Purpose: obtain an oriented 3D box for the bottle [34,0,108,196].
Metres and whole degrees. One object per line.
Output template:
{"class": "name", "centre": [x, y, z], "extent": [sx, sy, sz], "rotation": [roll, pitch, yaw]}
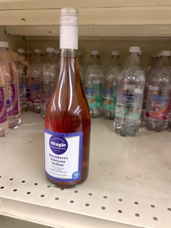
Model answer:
{"class": "bottle", "centre": [-0.022, -0.019, 0.309], "extent": [0.090, 0.299, 0.080], "rotation": [7, 16, 17]}
